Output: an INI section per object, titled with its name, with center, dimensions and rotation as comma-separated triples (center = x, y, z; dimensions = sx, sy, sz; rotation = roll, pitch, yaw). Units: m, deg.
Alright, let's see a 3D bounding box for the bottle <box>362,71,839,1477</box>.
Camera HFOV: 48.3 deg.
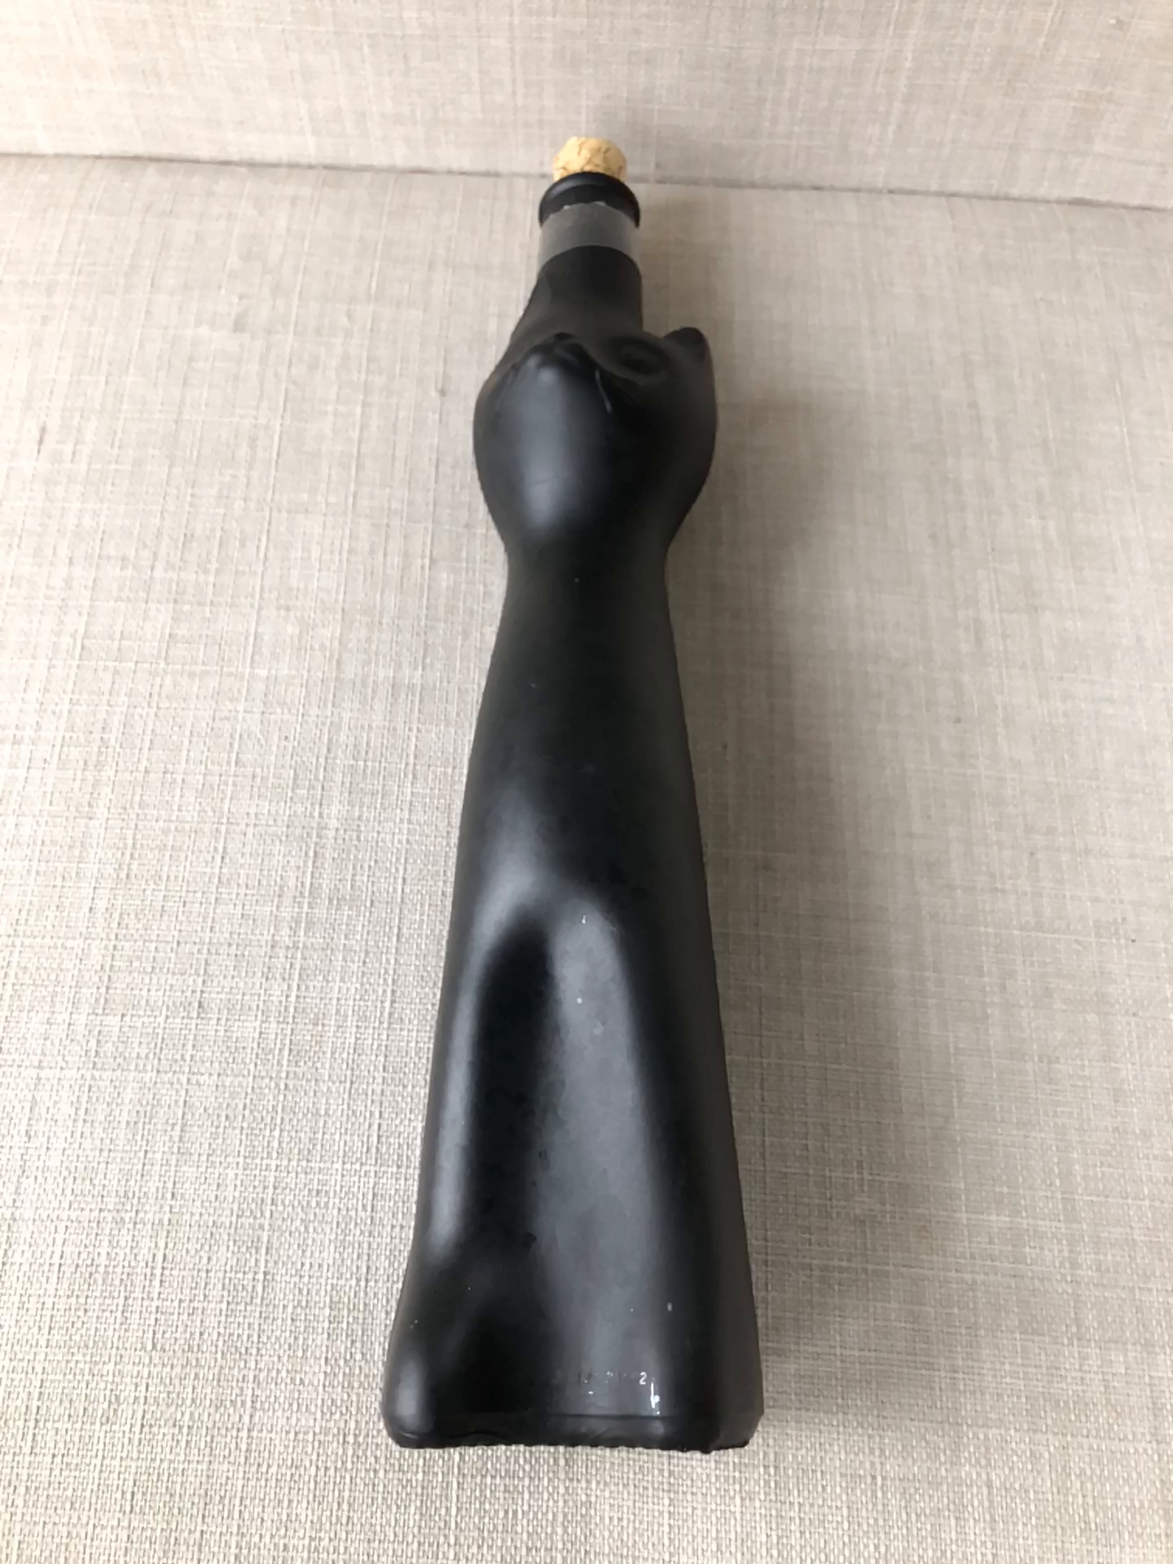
[bottle]
center = 0.001, -0.017, 0.307
dimensions = 0.077, 0.080, 0.311
rotation = 1, 68, -3
